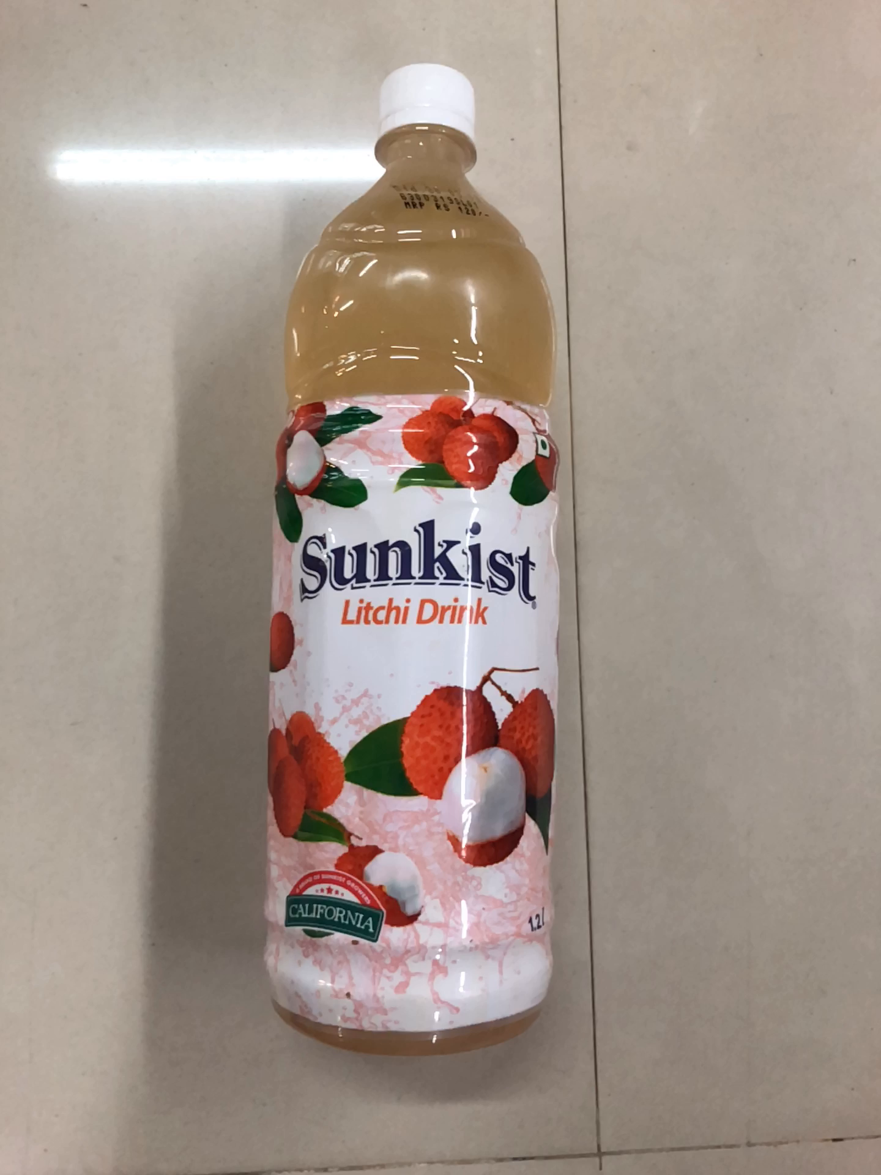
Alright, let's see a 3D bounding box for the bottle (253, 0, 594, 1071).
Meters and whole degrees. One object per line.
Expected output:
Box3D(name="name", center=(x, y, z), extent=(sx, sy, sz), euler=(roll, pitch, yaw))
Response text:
Box3D(name="bottle", center=(-0.005, -0.021, 0.306), extent=(0.090, 0.080, 0.300), euler=(0, 87, -2))
